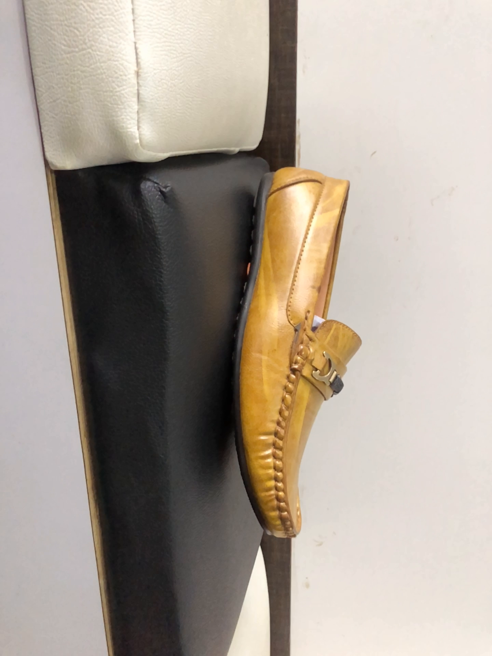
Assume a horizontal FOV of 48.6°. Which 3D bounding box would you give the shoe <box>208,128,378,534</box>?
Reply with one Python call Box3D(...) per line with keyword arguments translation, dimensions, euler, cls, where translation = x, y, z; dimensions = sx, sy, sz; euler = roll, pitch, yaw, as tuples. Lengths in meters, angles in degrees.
Box3D(translation=(0.050, 0.011, 0.436), dimensions=(0.171, 0.090, 0.270), euler=(59, 35, -71), cls="shoe")
